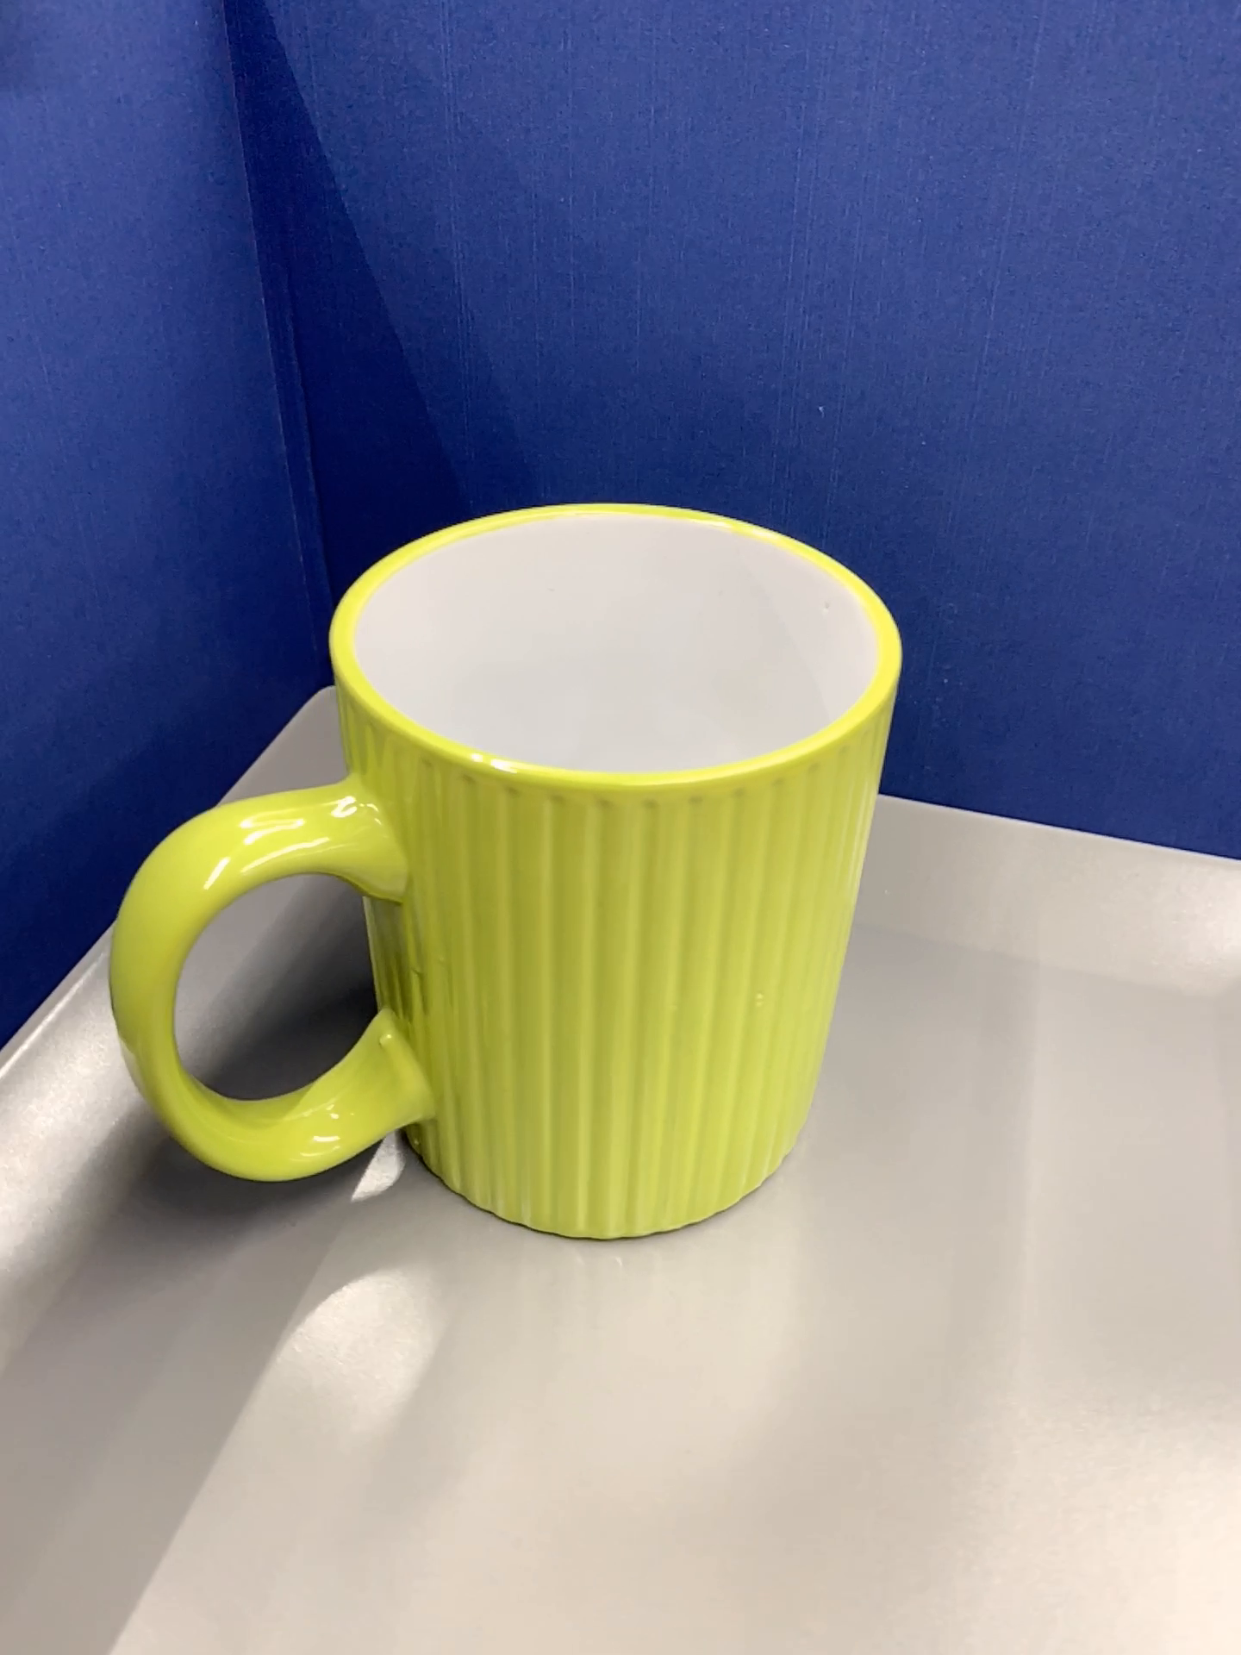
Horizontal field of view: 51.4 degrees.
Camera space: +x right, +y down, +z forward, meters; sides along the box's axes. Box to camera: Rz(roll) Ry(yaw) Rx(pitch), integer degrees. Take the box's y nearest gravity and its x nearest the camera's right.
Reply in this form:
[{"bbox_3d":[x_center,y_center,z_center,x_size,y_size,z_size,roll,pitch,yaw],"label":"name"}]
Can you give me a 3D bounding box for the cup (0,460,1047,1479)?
[{"bbox_3d":[-0.017,0.012,0.218,0.129,0.098,0.091,-20,41,-27],"label":"cup"}]
